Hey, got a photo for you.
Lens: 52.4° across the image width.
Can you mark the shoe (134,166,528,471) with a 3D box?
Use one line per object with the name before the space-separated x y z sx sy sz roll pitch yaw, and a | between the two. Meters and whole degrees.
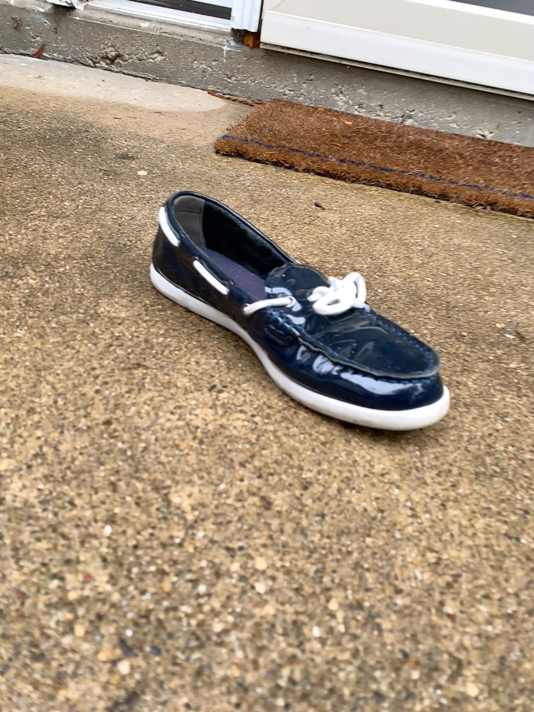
shoe | 0.023 -0.047 0.368 0.101 0.083 0.246 -22 45 -40
